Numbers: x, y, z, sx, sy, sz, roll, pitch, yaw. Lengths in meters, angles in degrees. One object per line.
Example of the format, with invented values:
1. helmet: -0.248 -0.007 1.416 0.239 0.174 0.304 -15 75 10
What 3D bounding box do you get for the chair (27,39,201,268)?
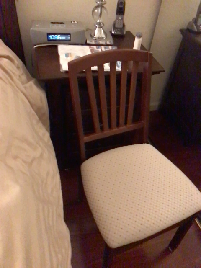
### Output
1. chair: 0.110 0.214 1.089 0.622 1.033 0.693 -16 49 -22
